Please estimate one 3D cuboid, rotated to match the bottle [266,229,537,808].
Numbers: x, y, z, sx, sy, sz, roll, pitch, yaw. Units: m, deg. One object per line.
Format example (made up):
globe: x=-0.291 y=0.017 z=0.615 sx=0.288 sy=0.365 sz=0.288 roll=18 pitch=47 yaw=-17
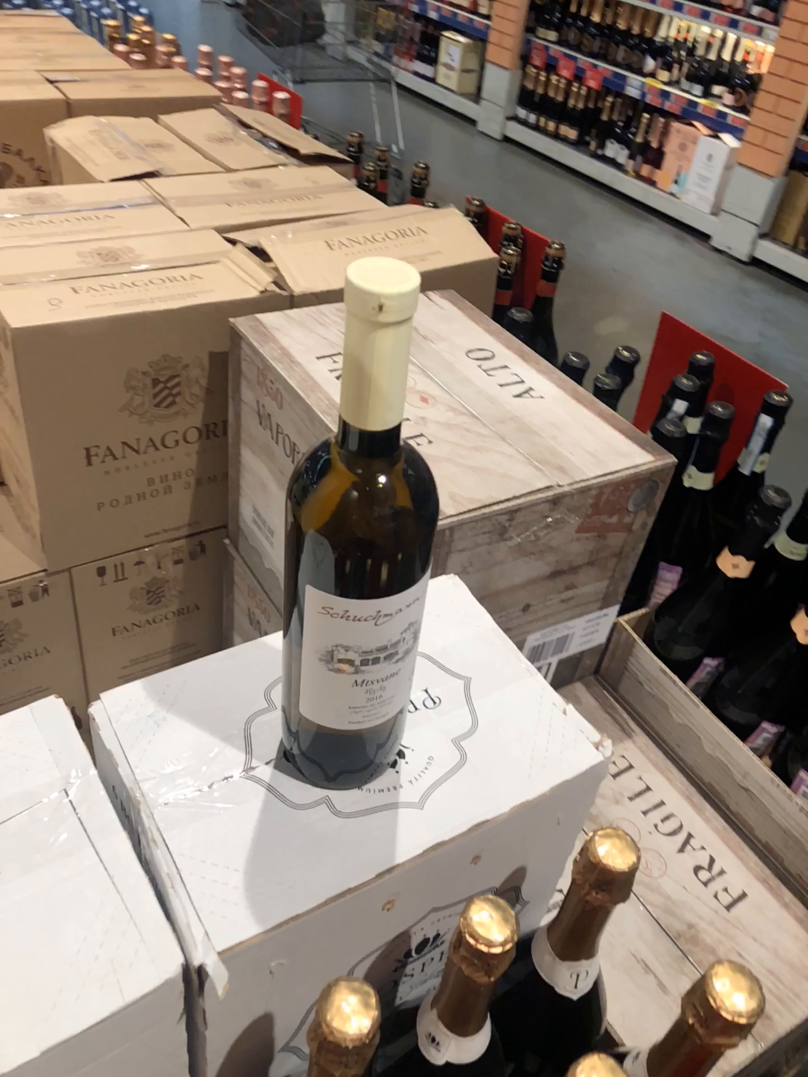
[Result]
bottle: x=-0.017 y=0.006 z=0.432 sx=0.080 sy=0.288 sz=0.073 roll=5 pitch=38 yaw=-4
